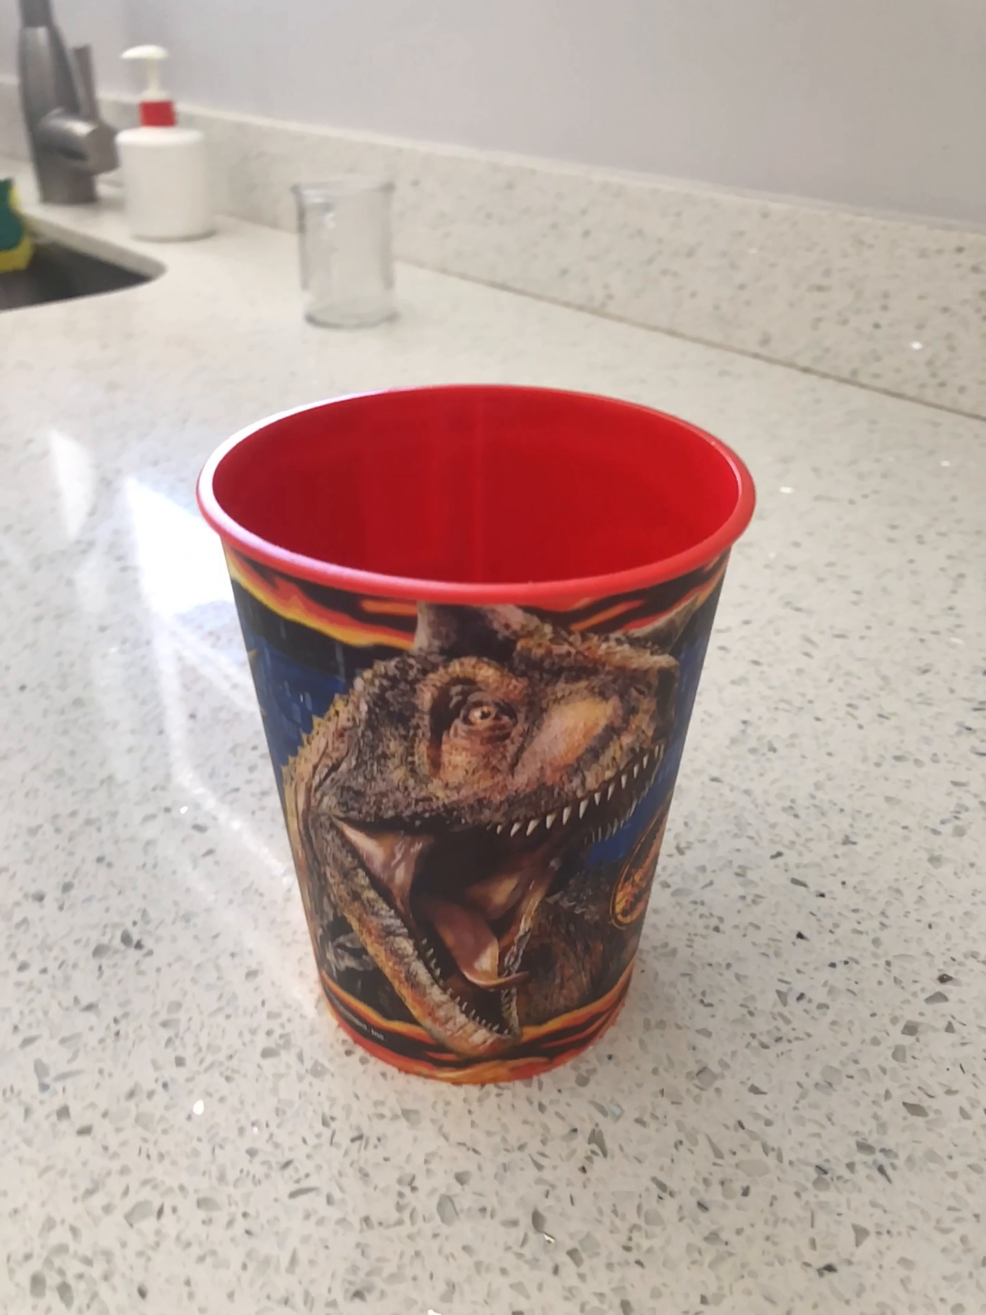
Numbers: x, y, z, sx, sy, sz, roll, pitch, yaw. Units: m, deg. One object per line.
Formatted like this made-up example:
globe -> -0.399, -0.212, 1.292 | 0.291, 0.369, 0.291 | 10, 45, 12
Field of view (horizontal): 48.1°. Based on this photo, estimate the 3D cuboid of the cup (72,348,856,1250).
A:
cup -> -0.009, 0.015, 0.202 | 0.090, 0.110, 0.090 | 0, 30, 0
